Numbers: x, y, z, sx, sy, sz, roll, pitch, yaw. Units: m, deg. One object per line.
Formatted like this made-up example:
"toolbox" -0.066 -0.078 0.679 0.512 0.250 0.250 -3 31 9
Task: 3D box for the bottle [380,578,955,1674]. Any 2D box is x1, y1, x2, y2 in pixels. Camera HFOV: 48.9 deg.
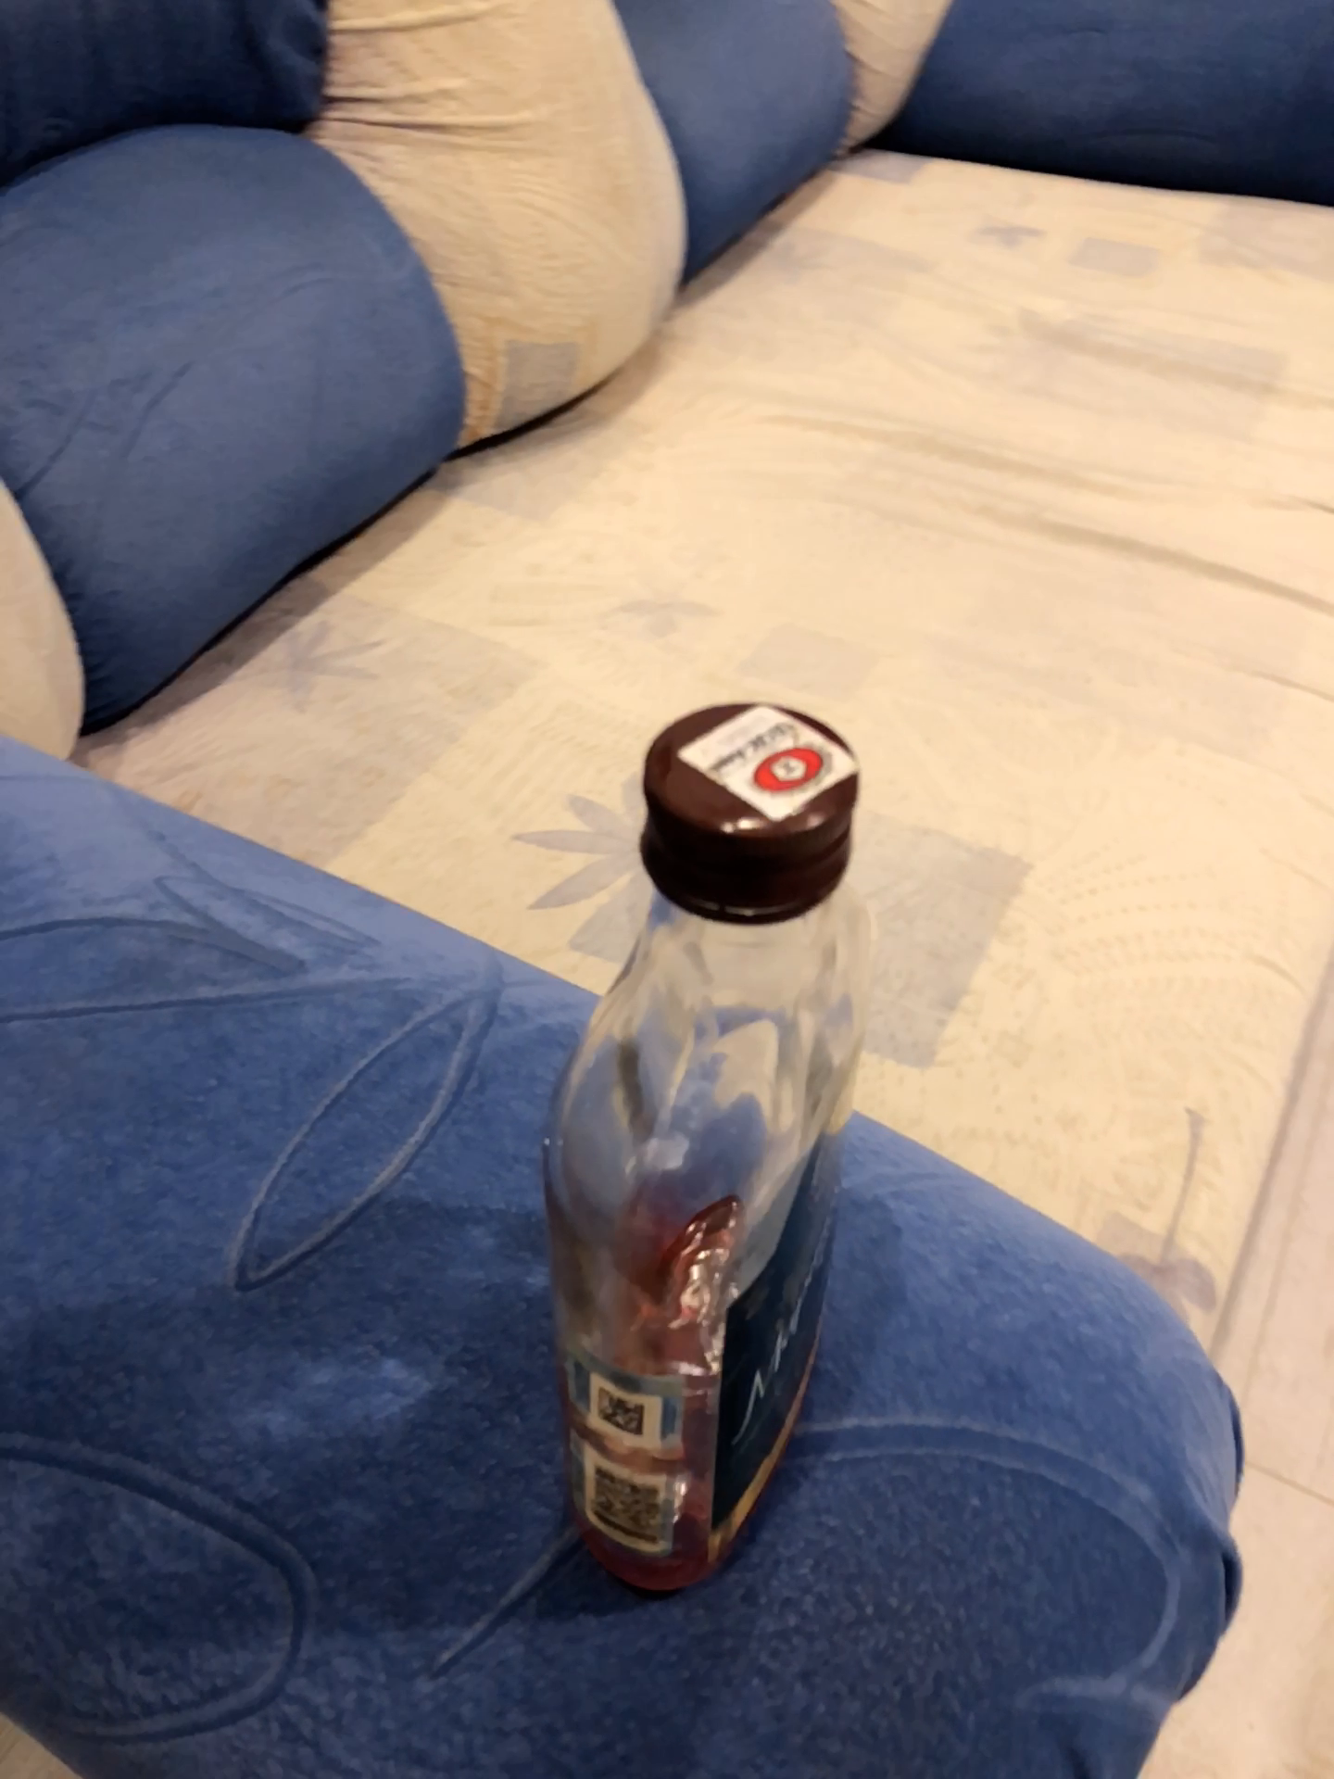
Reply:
"bottle" 0.003 0.051 0.251 0.040 0.179 0.091 18 47 16
